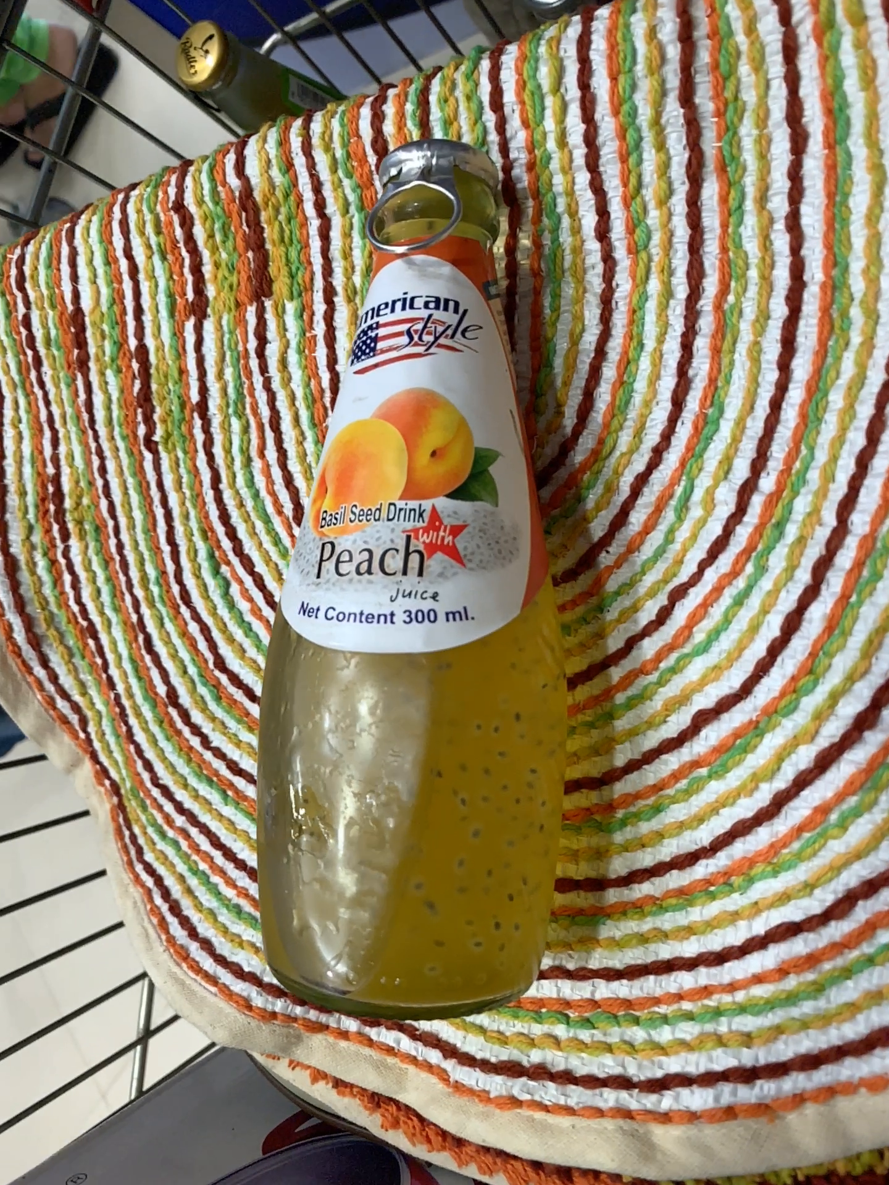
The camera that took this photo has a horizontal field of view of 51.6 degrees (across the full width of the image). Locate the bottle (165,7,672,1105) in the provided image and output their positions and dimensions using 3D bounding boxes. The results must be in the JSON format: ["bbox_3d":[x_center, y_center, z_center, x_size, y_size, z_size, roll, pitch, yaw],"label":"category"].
[{"bbox_3d":[0.003,-0.014,0.199,0.070,0.060,0.200,5,81,12],"label":"bottle"}]
